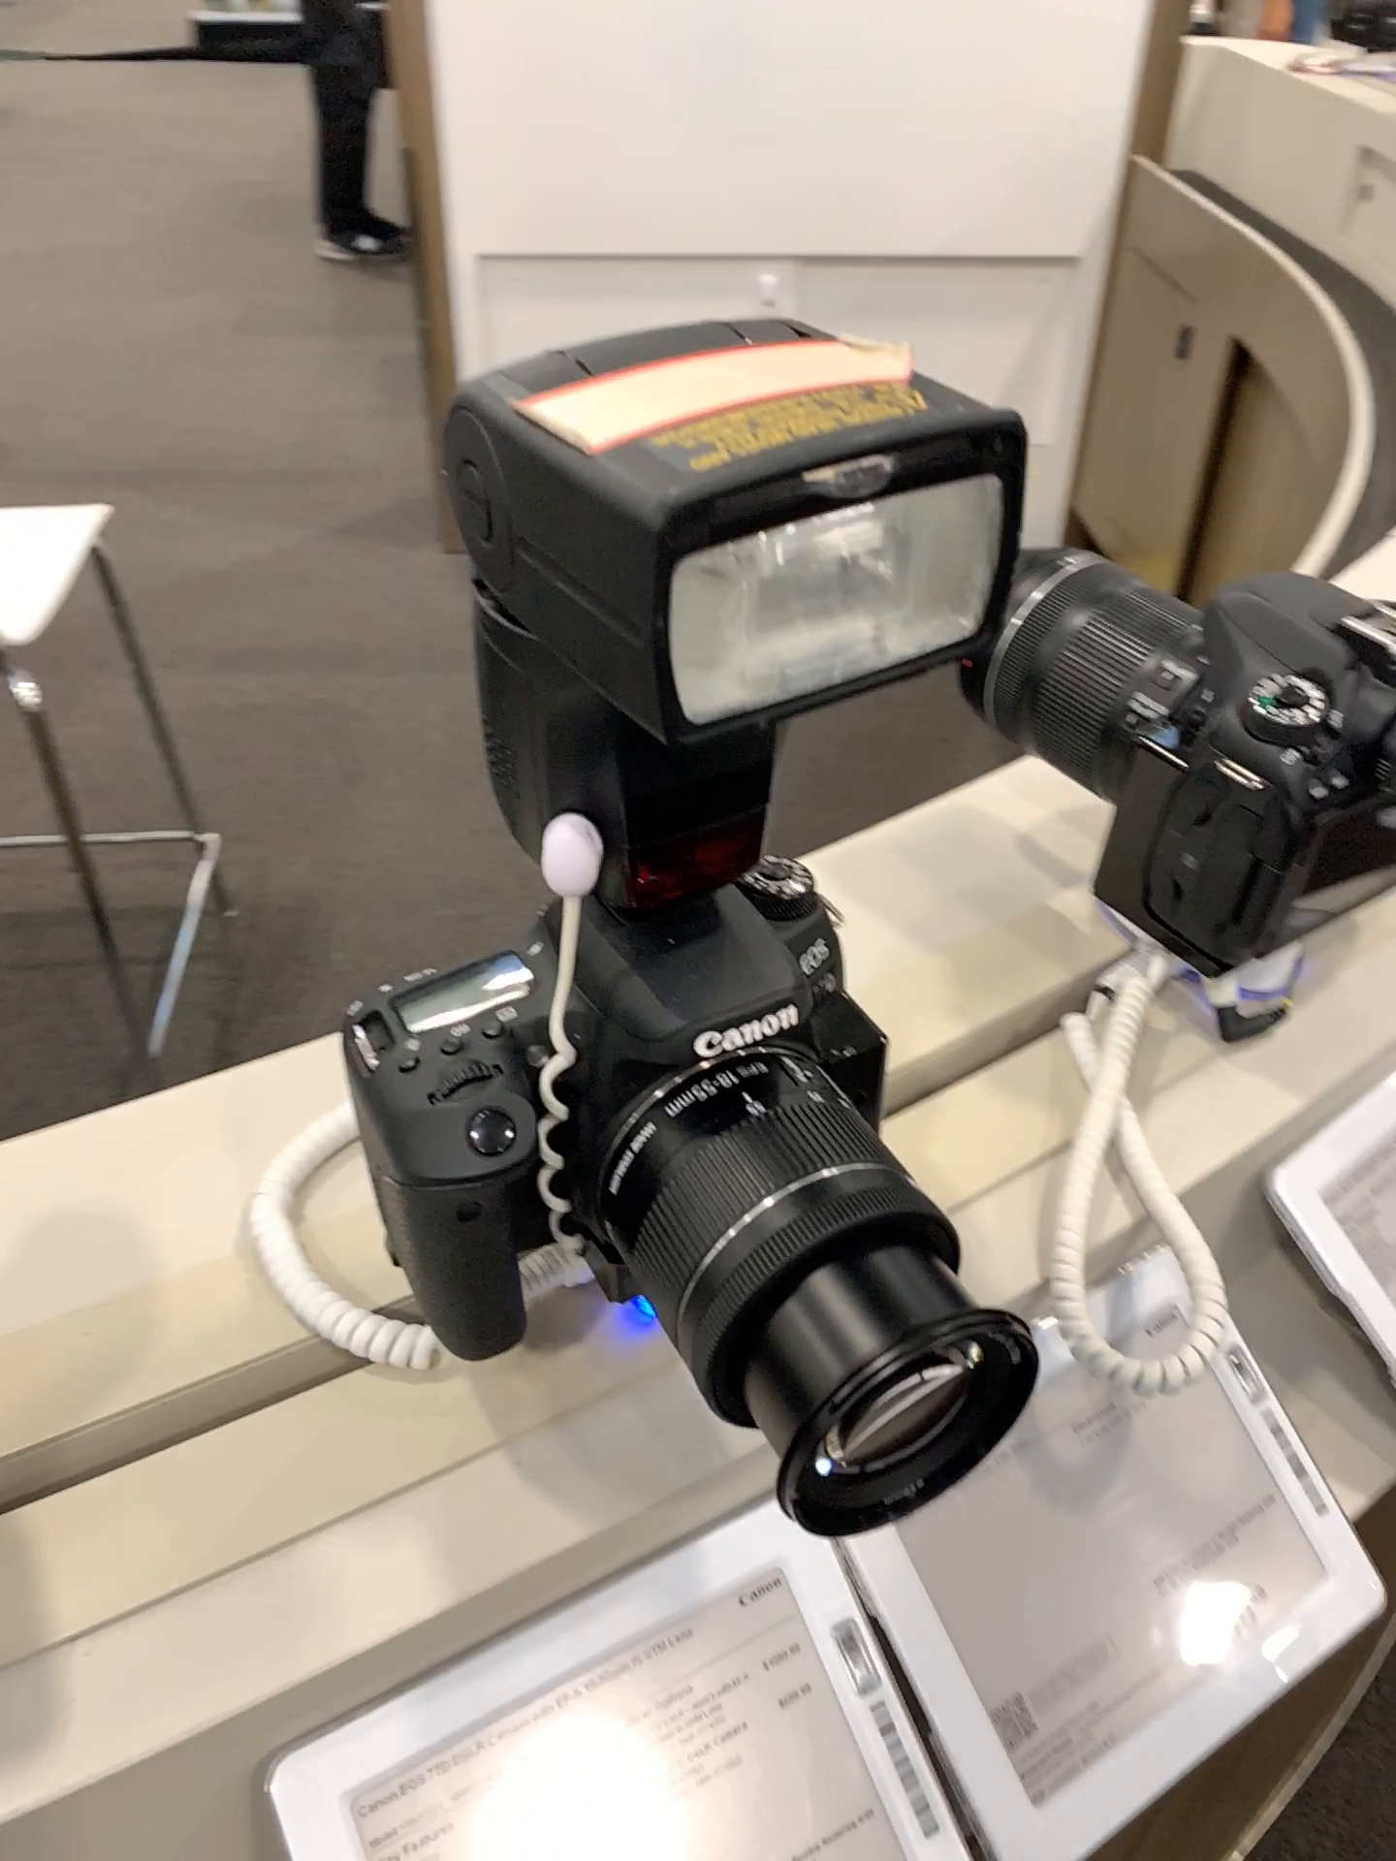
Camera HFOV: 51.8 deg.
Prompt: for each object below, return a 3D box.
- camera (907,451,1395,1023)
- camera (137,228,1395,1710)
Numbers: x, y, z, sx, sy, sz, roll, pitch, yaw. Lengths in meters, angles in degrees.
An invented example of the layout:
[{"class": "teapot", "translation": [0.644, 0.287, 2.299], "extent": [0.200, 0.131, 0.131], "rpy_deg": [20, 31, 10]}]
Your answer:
[{"class": "camera", "translation": [0.186, -0.078, 0.504], "extent": [0.140, 0.103, 0.166], "rpy_deg": [-20, 44, -25]}, {"class": "camera", "translation": [-0.006, 0.001, 0.311], "extent": [0.140, 0.232, 0.177], "rpy_deg": [-17, 42, -22]}]
